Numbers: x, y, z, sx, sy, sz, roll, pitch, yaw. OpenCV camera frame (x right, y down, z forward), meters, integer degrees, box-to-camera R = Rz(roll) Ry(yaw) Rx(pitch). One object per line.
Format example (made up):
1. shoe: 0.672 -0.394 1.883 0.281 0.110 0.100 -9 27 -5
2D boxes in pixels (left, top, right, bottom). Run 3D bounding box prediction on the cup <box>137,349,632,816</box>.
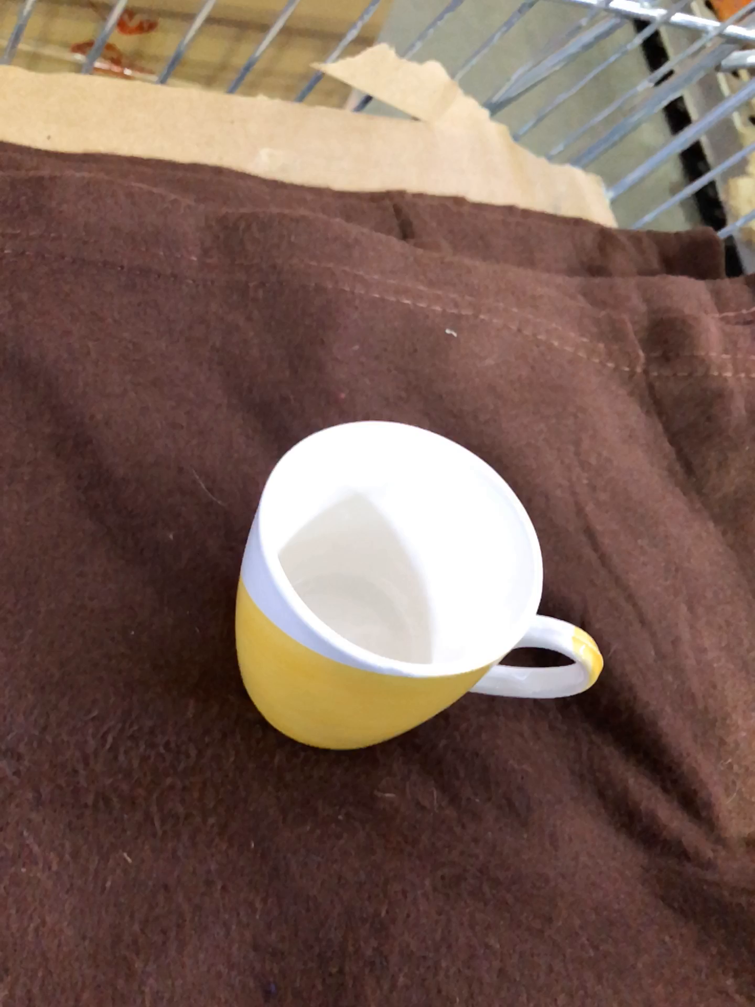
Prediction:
1. cup: 0.002 0.021 0.196 0.090 0.060 0.060 20 52 -7
